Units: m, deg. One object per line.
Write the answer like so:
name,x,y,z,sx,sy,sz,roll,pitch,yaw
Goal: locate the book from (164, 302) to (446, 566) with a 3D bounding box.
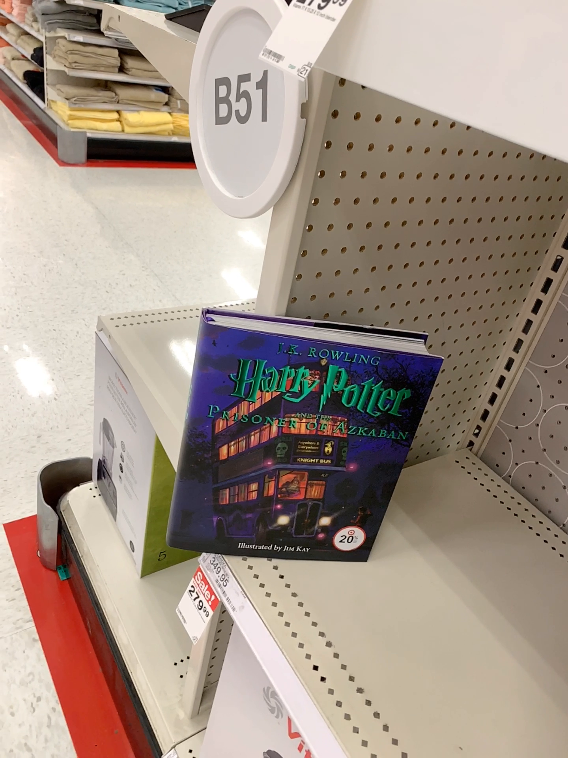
book,0.008,0.073,0.613,0.240,0.280,0.050,6,29,-11
